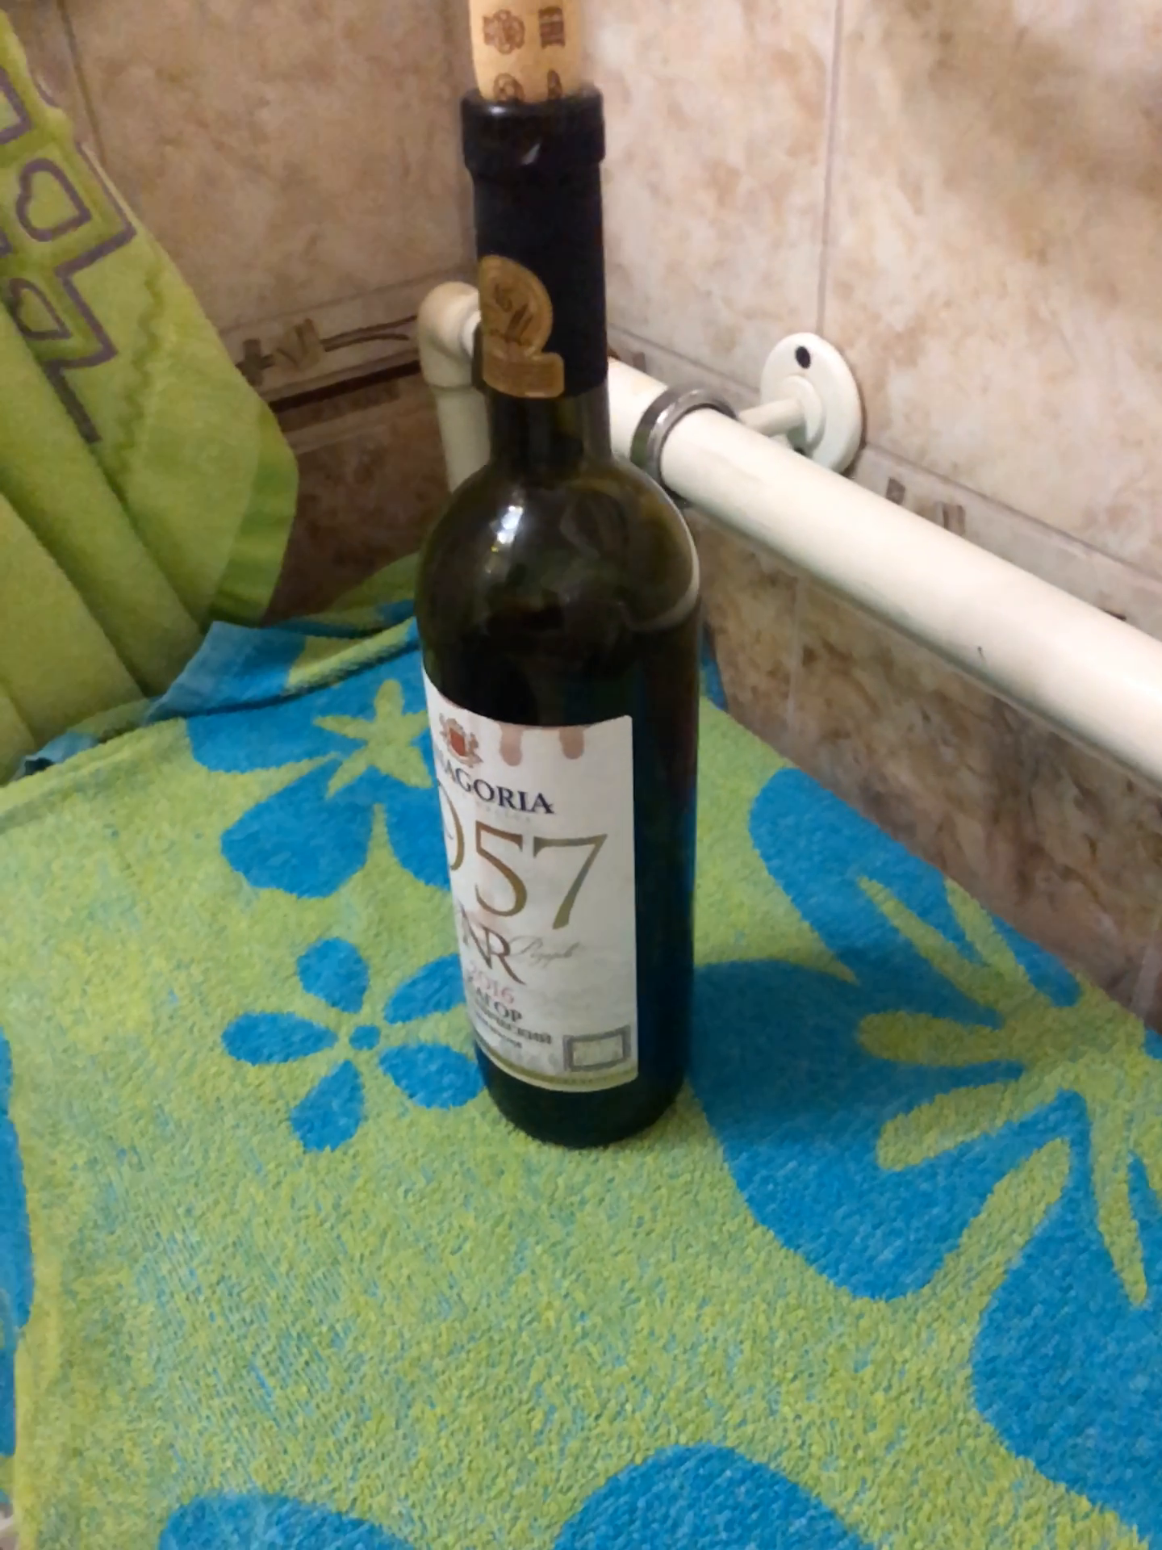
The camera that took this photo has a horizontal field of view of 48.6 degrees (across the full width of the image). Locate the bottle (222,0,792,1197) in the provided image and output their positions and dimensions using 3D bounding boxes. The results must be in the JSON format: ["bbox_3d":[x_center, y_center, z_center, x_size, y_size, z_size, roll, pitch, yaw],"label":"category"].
[{"bbox_3d":[-0.007,-0.031,0.339,0.080,0.318,0.080,-3,38,2],"label":"bottle"}]
